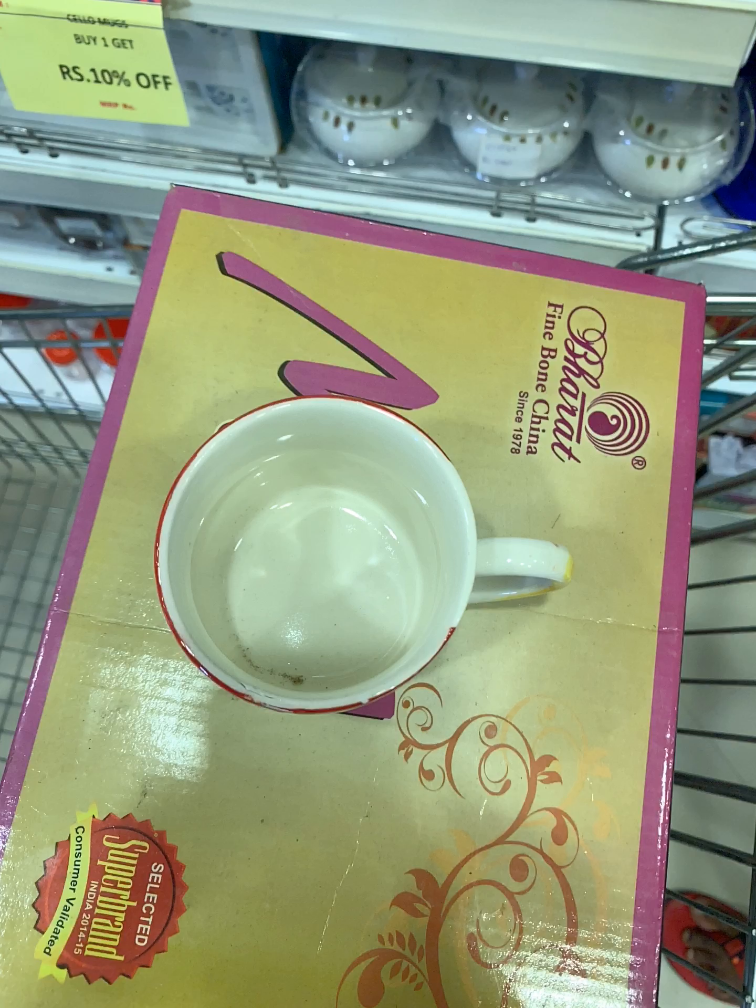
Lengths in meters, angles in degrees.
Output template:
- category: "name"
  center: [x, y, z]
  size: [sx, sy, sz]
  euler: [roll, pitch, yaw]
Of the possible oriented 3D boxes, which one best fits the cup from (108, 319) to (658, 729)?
- category: "cup"
  center: [0.002, 0.011, 0.201]
  size: [0.110, 0.070, 0.080]
  euler: [5, 75, -3]
